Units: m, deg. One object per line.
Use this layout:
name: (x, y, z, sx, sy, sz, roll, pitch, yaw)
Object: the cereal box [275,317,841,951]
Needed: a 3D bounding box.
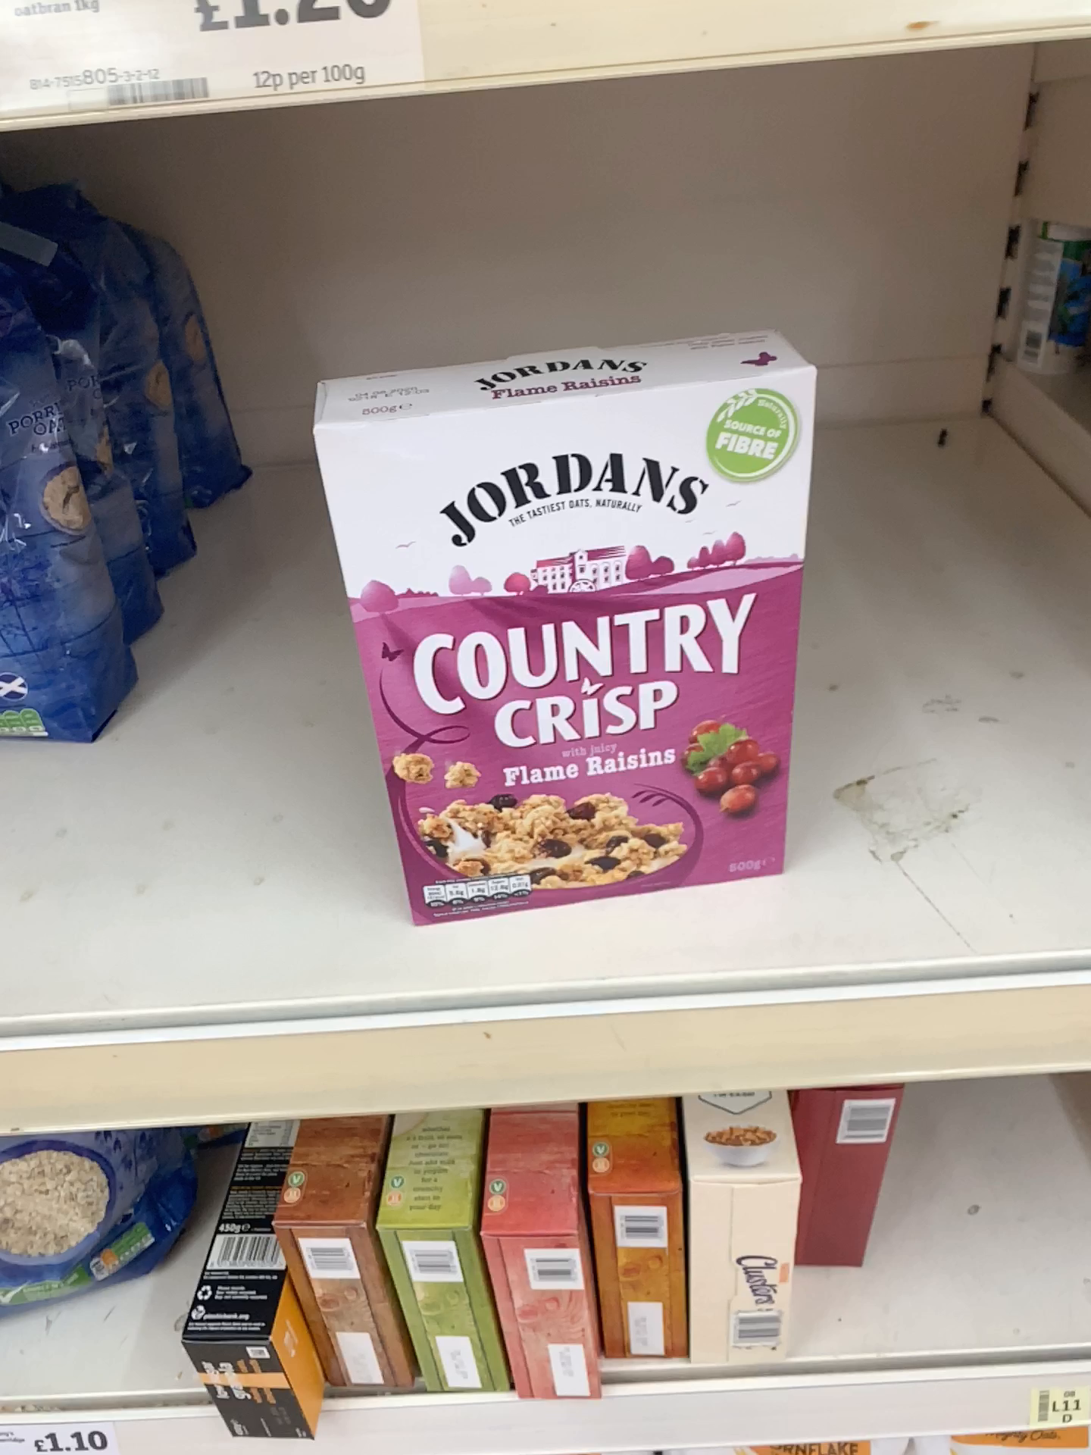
cereal box: (0.012, -0.028, 0.486, 0.200, 0.258, 0.050, -8, 34, -4)
